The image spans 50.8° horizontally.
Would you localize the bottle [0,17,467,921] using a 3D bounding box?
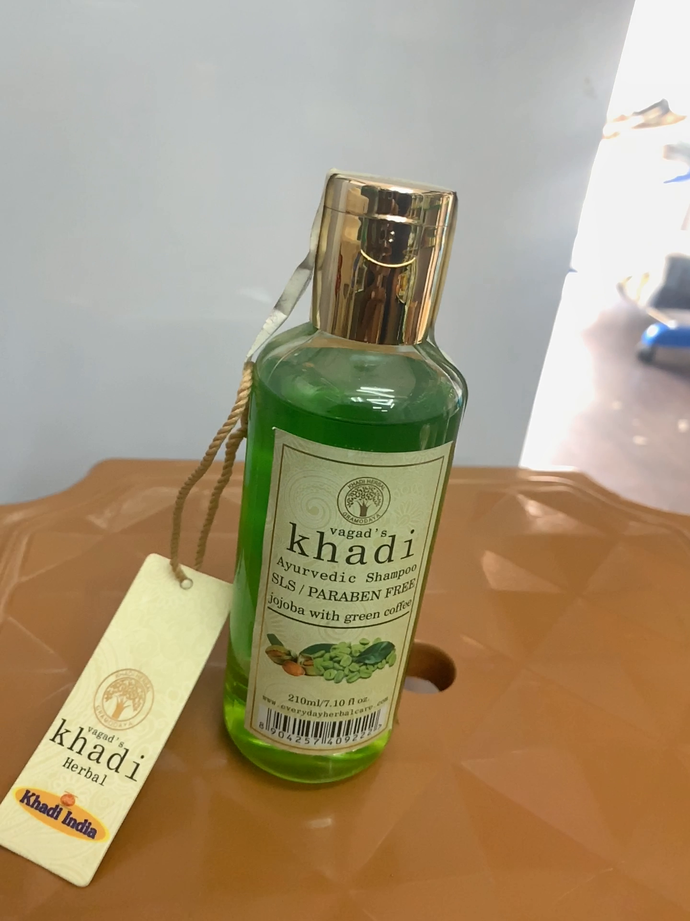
[{"bbox_3d":[-0.020,0.014,0.129,0.050,0.149,0.050,5,25,-3],"label":"bottle"}]
